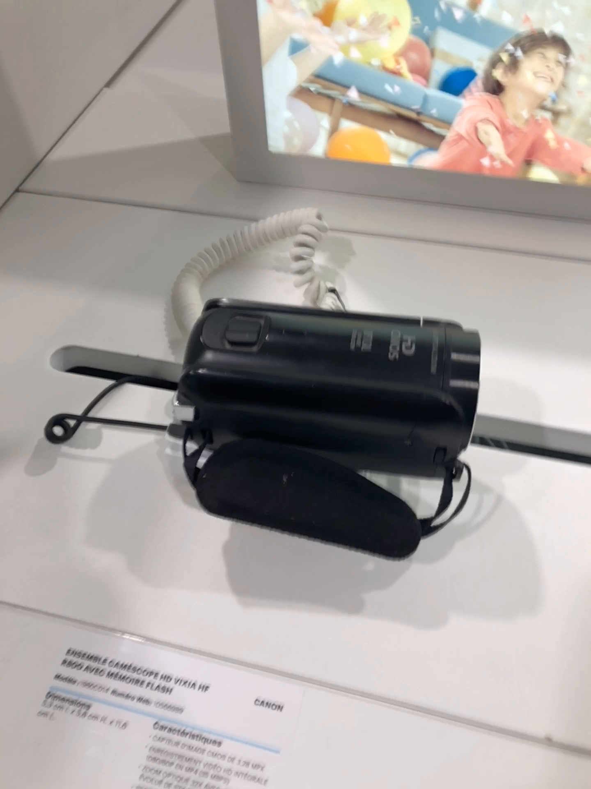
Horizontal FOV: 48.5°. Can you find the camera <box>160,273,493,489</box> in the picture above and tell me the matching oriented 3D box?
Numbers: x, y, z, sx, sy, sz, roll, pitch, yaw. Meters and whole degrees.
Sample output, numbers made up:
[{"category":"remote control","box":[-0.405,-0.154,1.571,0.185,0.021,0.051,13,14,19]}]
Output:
[{"category":"camera","box":[0.014,-0.006,0.255,0.113,0.050,0.050,7,52,8]}]
